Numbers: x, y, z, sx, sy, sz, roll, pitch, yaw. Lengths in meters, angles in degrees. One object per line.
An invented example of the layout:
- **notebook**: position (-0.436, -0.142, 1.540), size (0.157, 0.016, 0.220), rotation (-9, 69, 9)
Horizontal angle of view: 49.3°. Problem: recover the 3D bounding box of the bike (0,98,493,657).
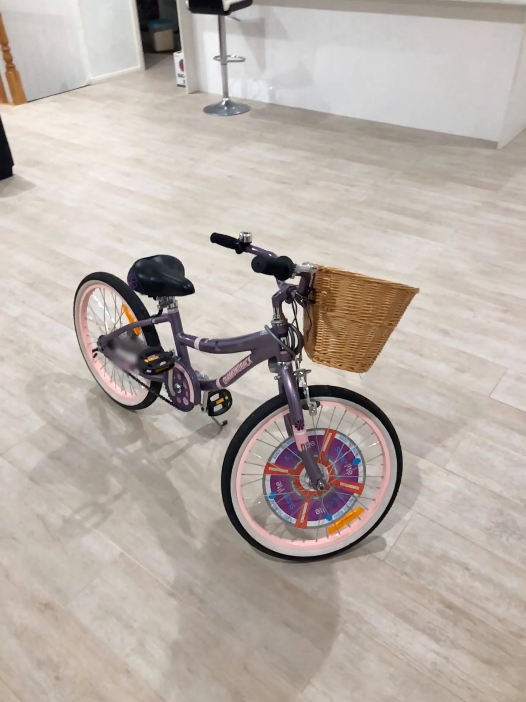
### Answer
- **bike**: position (-0.149, -0.026, 1.652), size (1.217, 0.877, 0.749), rotation (25, 45, 25)
